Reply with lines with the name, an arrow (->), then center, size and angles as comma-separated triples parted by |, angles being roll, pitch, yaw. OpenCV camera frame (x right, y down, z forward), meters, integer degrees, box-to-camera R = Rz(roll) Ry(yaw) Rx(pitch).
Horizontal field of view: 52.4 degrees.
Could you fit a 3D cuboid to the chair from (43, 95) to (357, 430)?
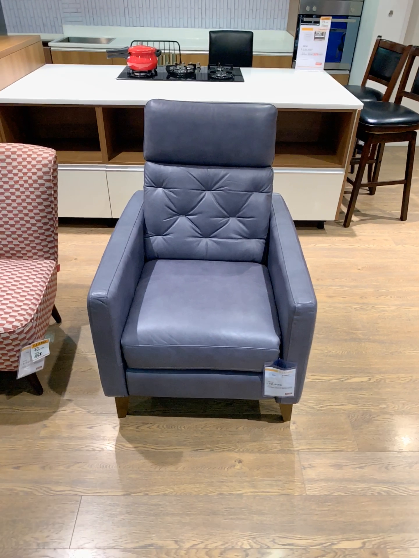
chair -> -0.023, -0.091, 1.682 | 0.770, 0.996, 0.854 | 2, 36, 0
